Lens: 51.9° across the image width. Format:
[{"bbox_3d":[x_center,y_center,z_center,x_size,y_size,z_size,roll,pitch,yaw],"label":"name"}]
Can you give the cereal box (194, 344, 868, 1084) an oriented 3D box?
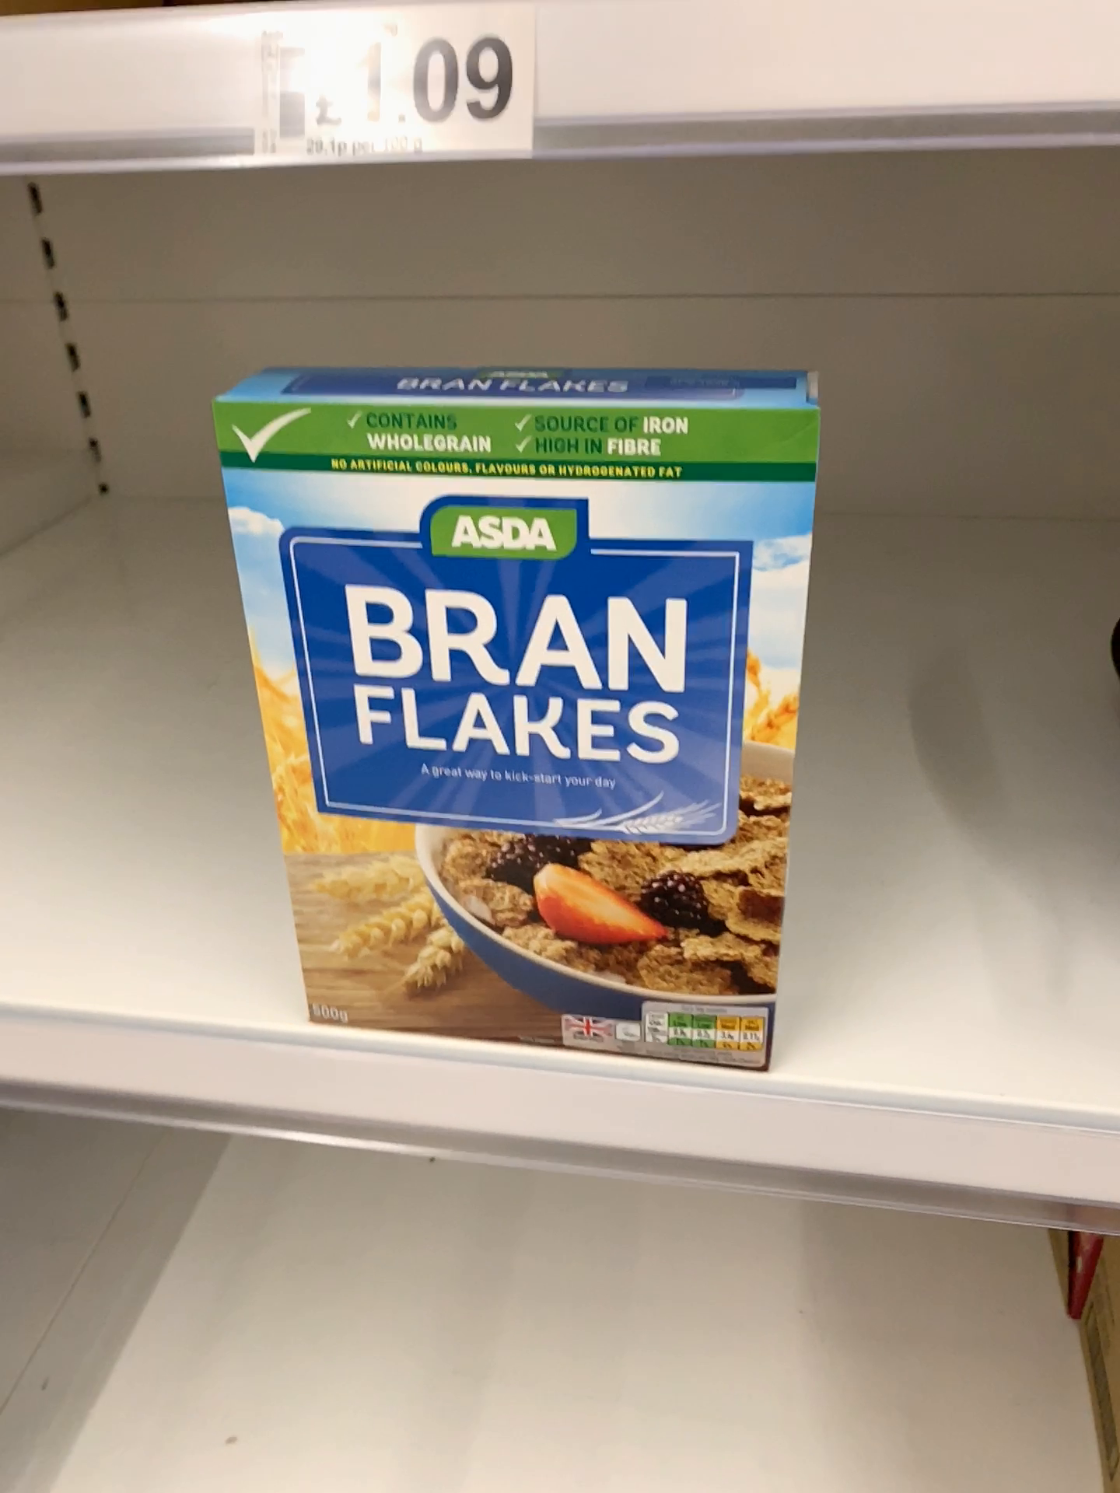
[{"bbox_3d":[-0.004,-0.011,0.465,0.220,0.277,0.081,3,27,10],"label":"cereal box"}]
